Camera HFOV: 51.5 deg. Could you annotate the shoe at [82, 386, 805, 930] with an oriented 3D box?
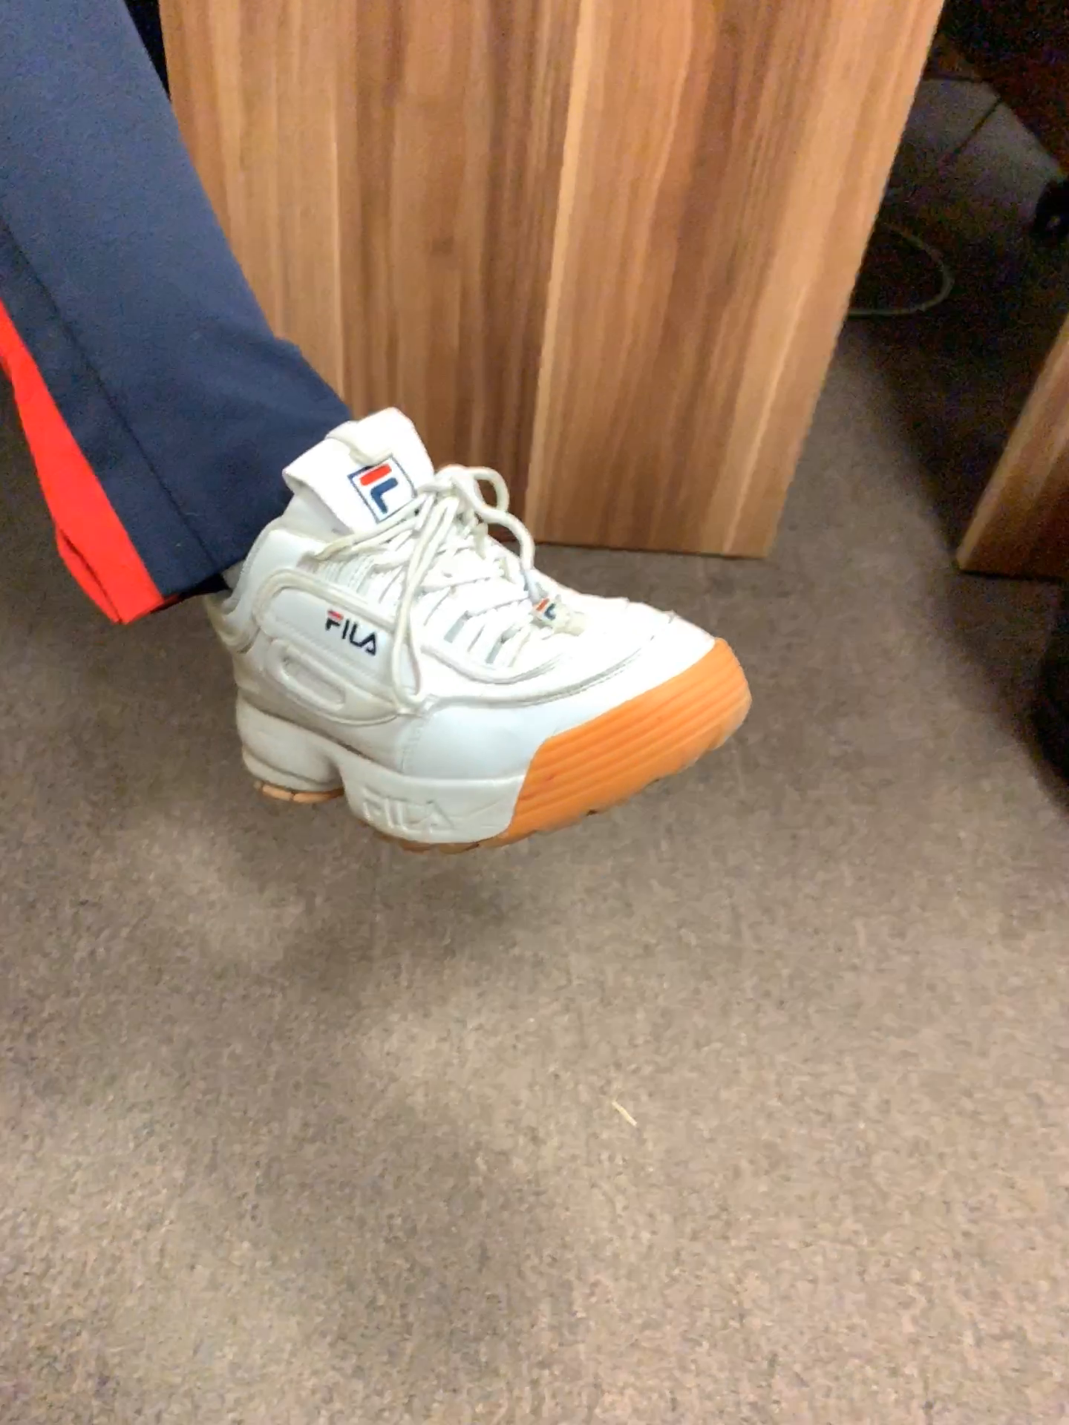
[{"bbox_3d":[-0.034,-0.042,0.420,0.230,0.130,0.130,15,33,38],"label":"shoe"}]
